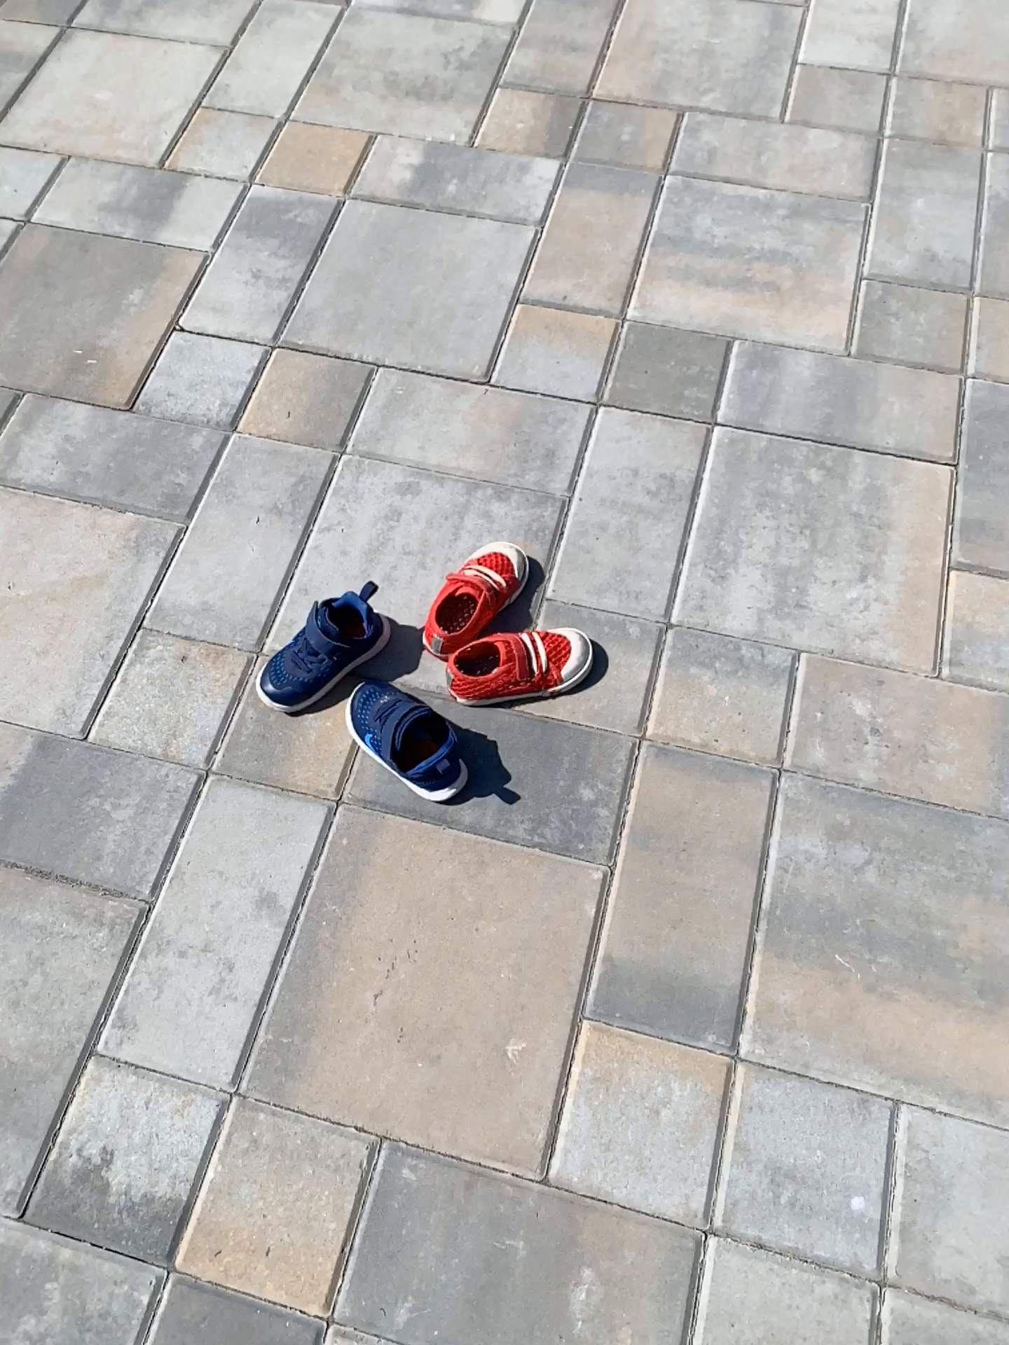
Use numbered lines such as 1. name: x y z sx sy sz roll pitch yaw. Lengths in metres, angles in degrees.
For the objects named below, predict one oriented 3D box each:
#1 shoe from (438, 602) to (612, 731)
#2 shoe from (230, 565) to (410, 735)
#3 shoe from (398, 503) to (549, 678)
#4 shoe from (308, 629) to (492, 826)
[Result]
1. shoe: 0.022 -0.006 1.133 0.170 0.070 0.080 -14 63 -5
2. shoe: -0.199 -0.025 1.130 0.170 0.070 0.080 -38 67 -17
3. shoe: -0.031 -0.092 1.151 0.080 0.070 0.170 31 68 17
4. shoe: -0.110 0.058 1.108 0.090 0.090 0.180 -42 68 -18
